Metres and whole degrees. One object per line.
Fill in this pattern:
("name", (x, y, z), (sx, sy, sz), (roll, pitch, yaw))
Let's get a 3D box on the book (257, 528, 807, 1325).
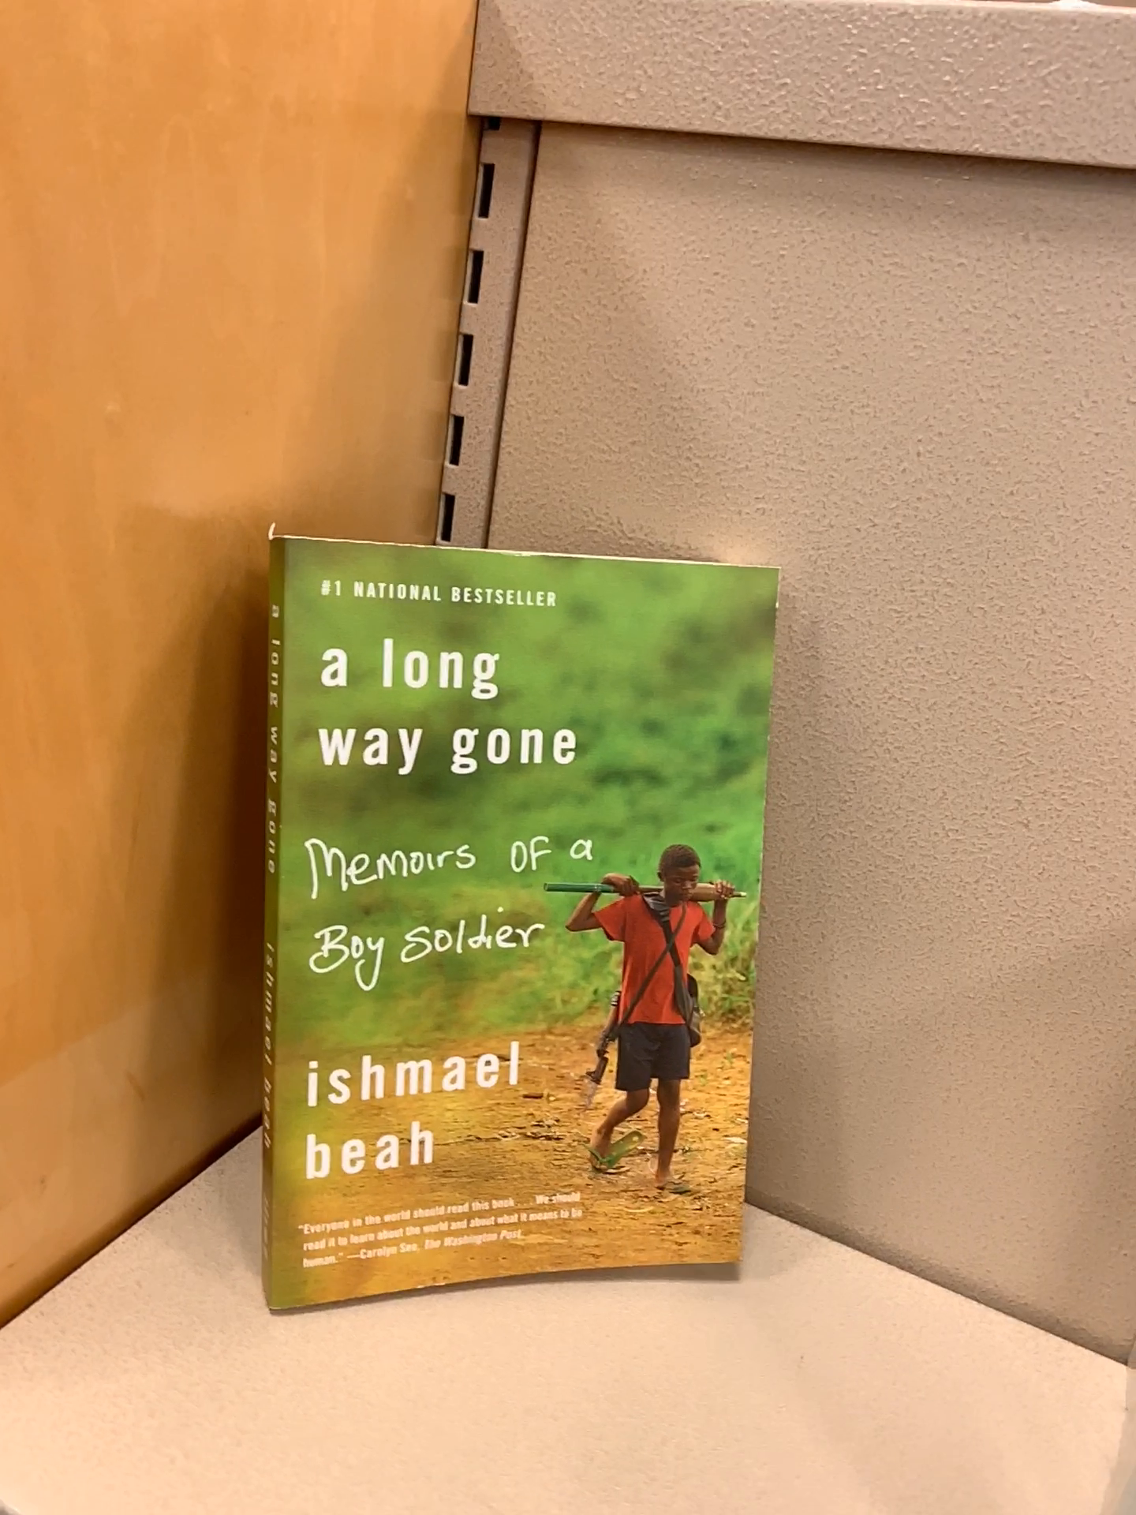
("book", (-0.012, 0.048, 0.326), (0.140, 0.210, 0.020), (1, 9, -14))
